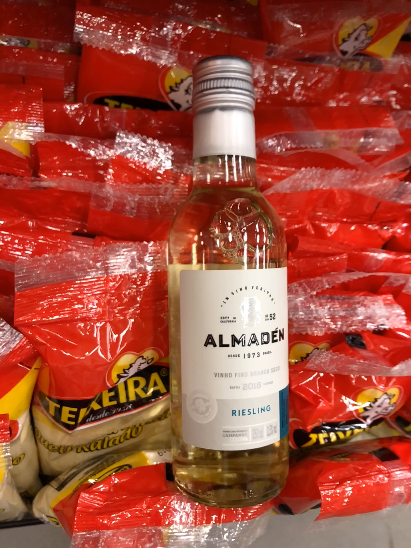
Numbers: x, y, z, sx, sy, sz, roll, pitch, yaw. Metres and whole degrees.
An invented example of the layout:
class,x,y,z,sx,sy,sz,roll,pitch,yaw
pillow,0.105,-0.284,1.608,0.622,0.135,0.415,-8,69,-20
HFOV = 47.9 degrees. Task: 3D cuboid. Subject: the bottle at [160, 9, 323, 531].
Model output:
class,x,y,z,sx,sy,sz,roll,pitch,yaw
bottle,0.014,-0.003,0.214,0.060,0.040,0.210,-1,89,-17
